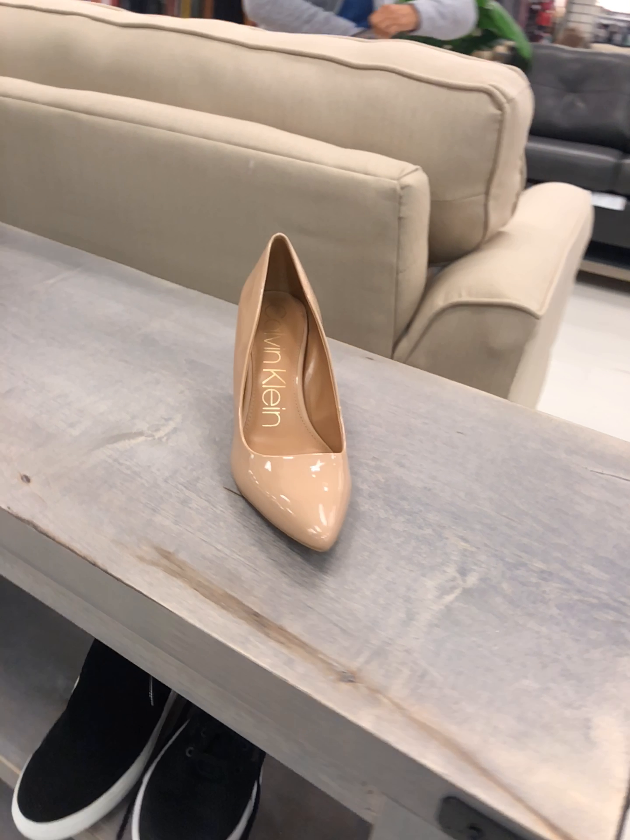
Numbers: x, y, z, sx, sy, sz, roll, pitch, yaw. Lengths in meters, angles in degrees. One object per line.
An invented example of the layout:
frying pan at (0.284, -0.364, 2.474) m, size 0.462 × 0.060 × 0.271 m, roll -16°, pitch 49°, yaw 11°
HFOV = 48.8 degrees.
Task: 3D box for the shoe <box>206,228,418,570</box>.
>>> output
shoe at (-0.023, -0.036, 0.509) m, size 0.096 × 0.129 × 0.269 m, roll -1°, pitch 32°, yaw -12°
